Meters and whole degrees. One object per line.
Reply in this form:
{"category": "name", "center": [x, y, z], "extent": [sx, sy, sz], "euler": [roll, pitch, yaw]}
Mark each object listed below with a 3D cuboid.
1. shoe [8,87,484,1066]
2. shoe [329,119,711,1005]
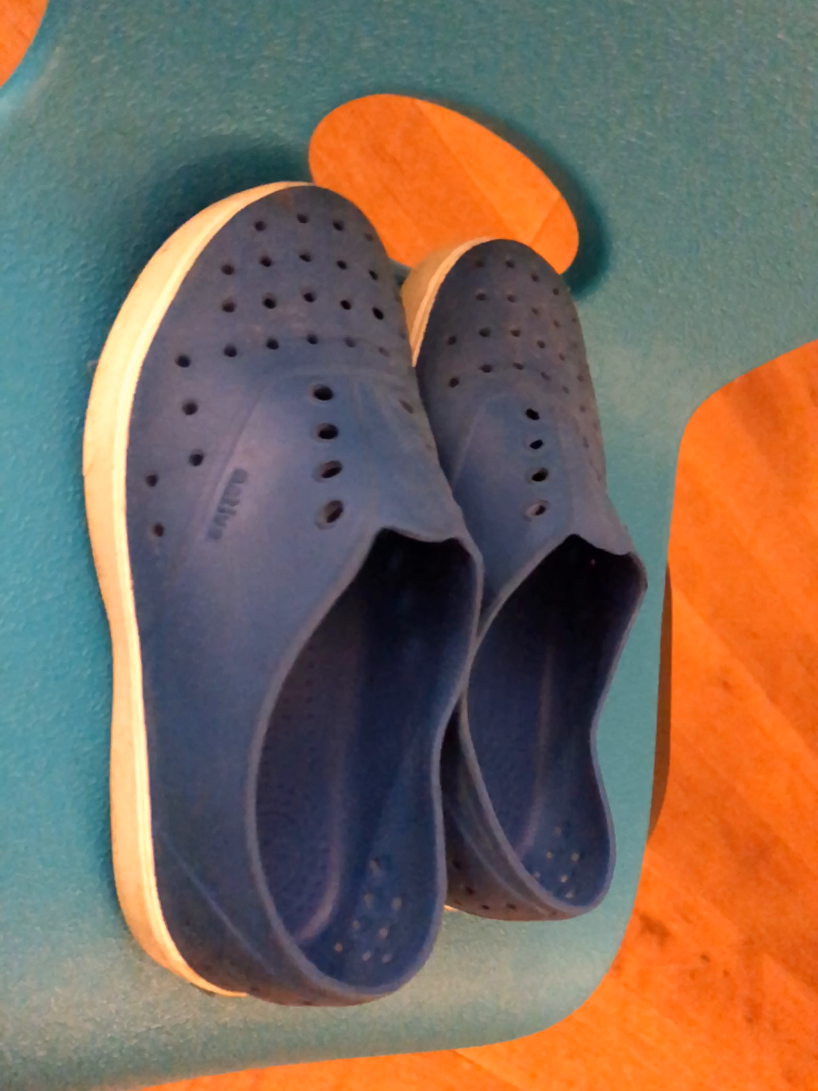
{"category": "shoe", "center": [-0.042, 0.007, 0.252], "extent": [0.090, 0.080, 0.210], "euler": [9, 80, -39]}
{"category": "shoe", "center": [0.041, 0.005, 0.301], "extent": [0.100, 0.070, 0.240], "euler": [9, 80, -39]}
